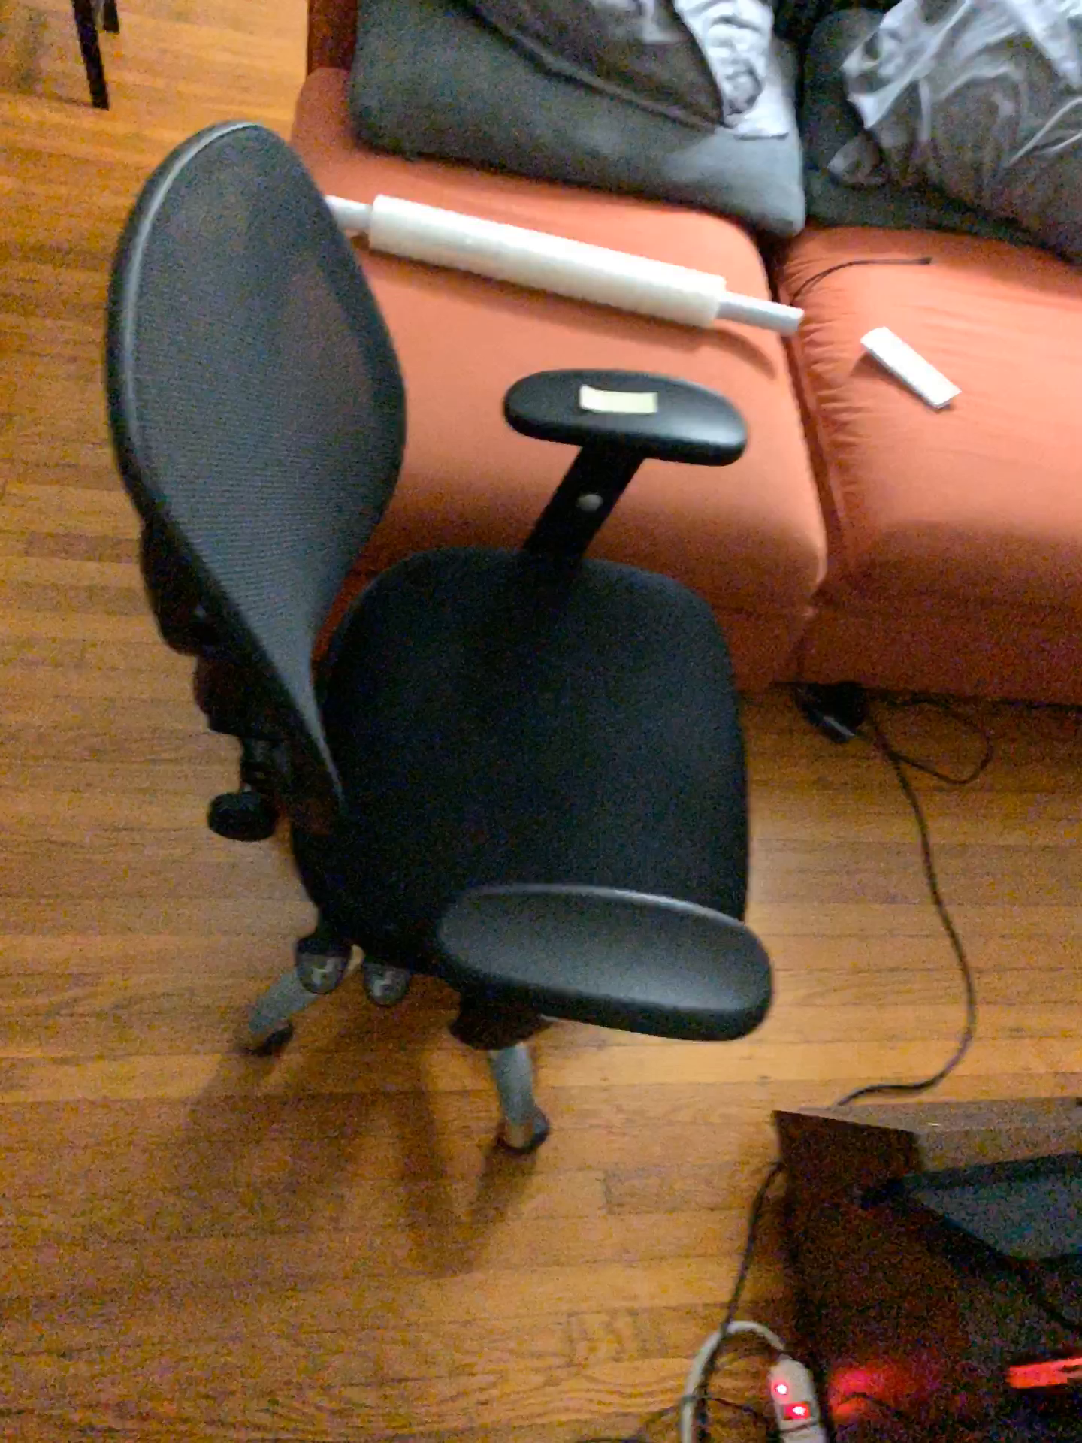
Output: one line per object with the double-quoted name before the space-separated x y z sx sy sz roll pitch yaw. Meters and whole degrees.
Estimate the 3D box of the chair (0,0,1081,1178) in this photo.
"chair" -0.057 -0.040 1.077 0.660 0.977 0.642 8 55 -3
